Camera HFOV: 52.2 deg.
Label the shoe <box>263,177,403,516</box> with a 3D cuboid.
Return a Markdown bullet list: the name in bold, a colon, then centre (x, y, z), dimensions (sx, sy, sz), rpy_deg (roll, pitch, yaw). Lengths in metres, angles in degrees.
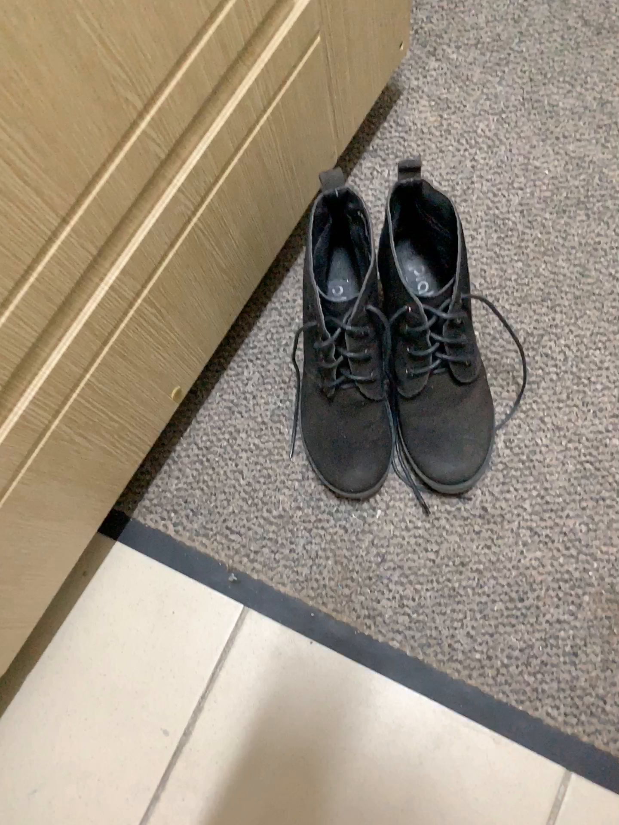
- **shoe**: centre (0.023, -0.042, 0.526), dimensions (0.080, 0.160, 0.230), rpy_deg (-6, 74, 6)

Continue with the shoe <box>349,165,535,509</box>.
- **shoe**: centre (0.099, -0.050, 0.526), dimensions (0.080, 0.160, 0.230), rpy_deg (-11, 74, 5)
